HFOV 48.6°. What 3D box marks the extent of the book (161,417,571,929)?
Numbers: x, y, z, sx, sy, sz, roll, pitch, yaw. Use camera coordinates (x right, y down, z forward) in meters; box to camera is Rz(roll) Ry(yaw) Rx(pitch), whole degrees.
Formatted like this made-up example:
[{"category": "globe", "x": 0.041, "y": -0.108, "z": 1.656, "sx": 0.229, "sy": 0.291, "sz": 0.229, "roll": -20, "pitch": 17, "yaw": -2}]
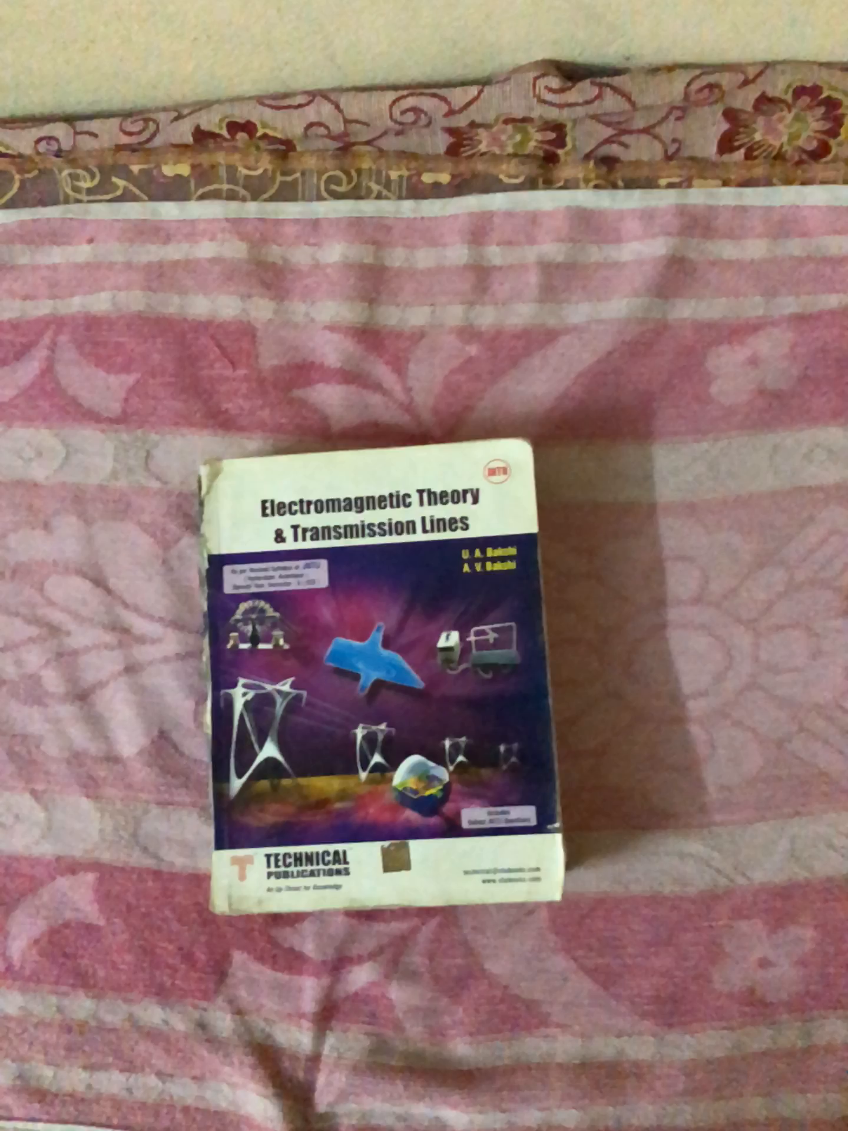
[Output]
[{"category": "book", "x": -0.033, "y": 0.057, "z": 0.515, "sx": 0.200, "sy": 0.060, "sz": 0.250, "roll": -4, "pitch": 81, "yaw": 5}]
